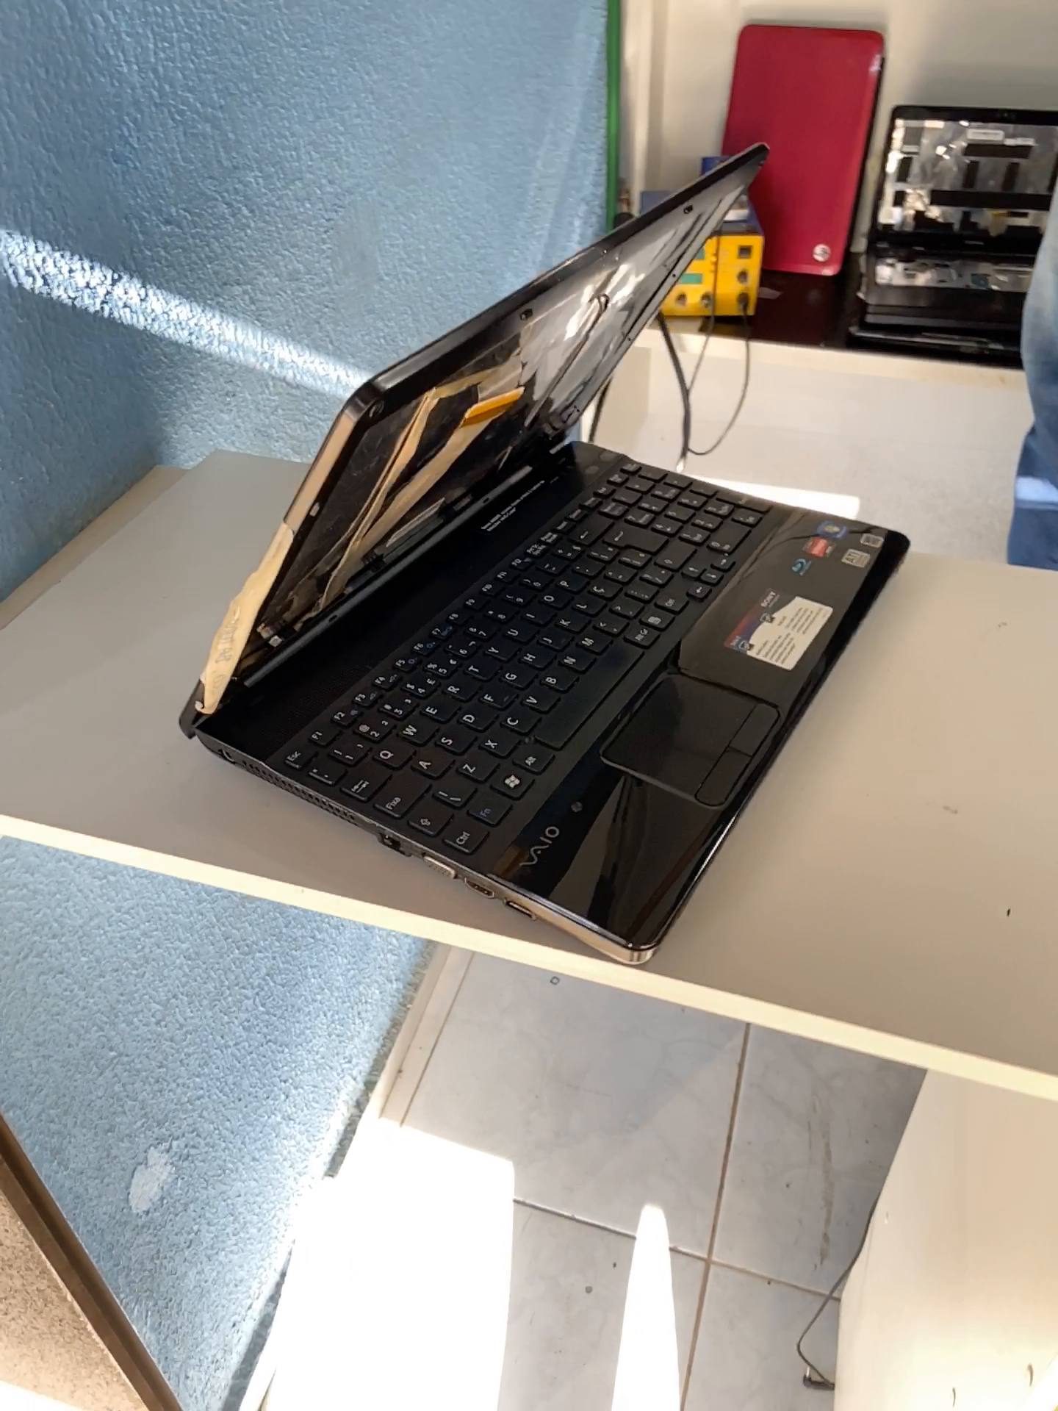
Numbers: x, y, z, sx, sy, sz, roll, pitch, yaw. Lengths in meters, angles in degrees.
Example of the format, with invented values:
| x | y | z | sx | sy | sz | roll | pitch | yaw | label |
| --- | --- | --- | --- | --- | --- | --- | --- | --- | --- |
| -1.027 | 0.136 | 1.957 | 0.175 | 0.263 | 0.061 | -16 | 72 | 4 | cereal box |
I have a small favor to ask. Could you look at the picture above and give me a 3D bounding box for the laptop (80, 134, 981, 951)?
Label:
| x | y | z | sx | sy | sz | roll | pitch | yaw | label |
| --- | --- | --- | --- | --- | --- | --- | --- | --- | --- |
| 0.034 | -0.121 | 0.535 | 0.242 | 0.193 | 0.366 | 21 | 44 | 24 | laptop |
